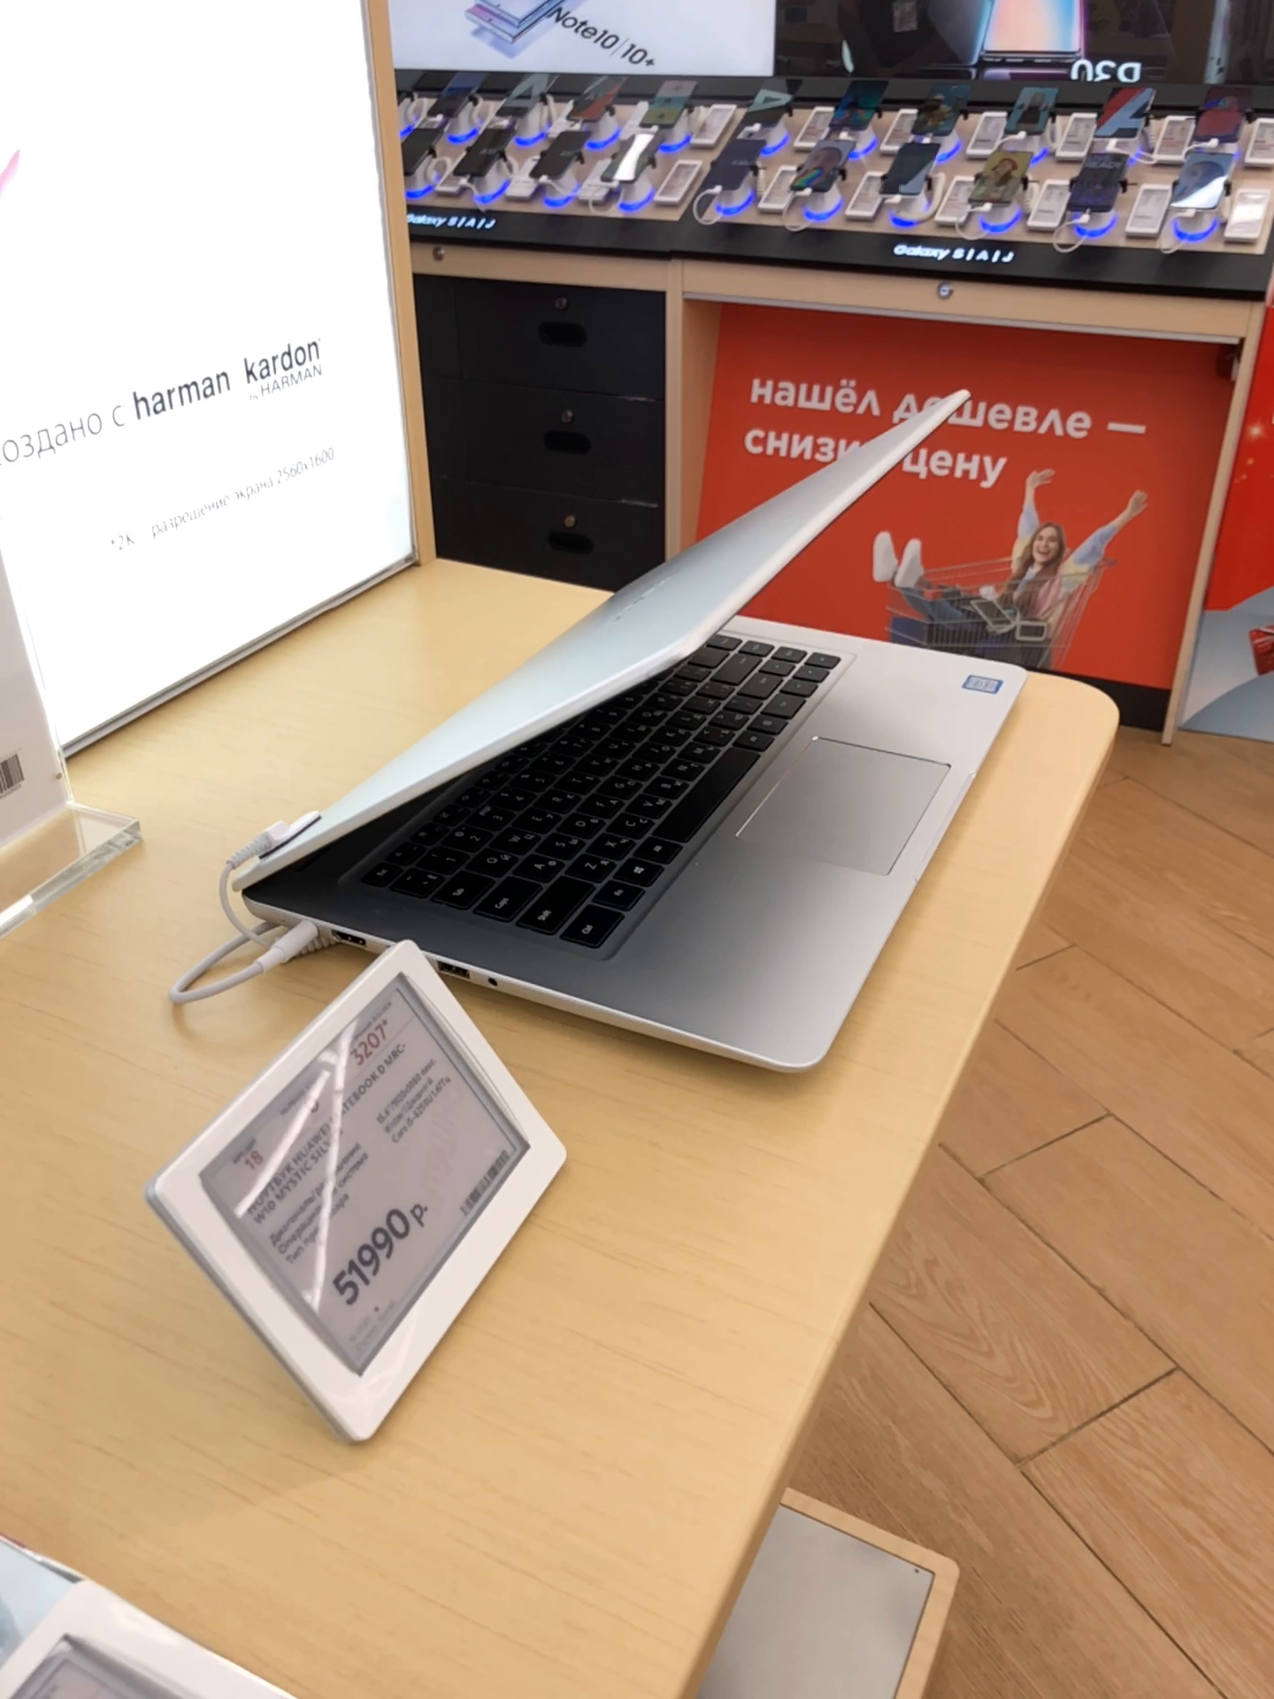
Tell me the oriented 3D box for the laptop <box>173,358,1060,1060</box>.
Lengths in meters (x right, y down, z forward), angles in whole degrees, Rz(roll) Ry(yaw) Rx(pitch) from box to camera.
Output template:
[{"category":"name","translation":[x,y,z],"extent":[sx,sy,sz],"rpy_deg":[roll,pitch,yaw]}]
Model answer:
[{"category":"laptop","translation":[0.022,-0.095,0.598],"extent":[0.230,0.135,0.344],"rpy_deg":[14,34,21]}]
